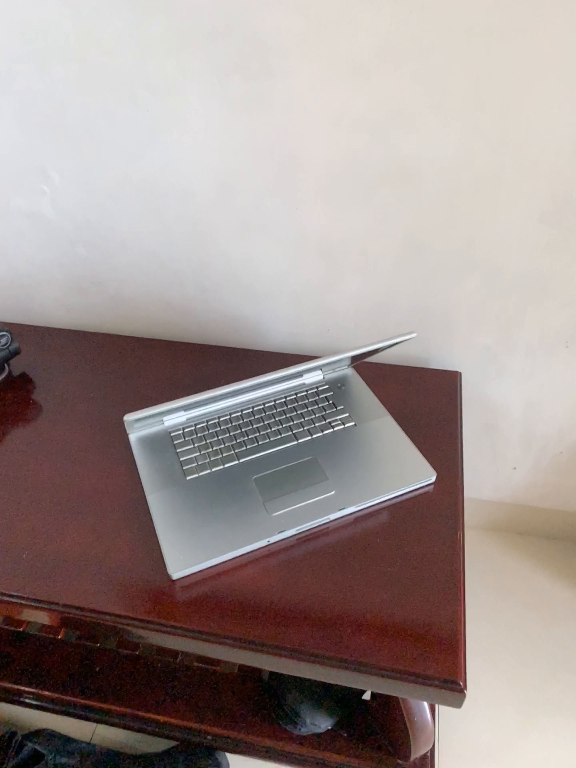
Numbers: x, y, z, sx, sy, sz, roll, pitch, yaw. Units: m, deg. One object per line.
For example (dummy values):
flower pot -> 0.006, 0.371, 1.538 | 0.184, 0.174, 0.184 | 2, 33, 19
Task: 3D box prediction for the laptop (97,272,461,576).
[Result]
laptop -> -0.019, 0.034, 0.830 | 0.400, 0.193, 0.266 | -16, 44, -17
